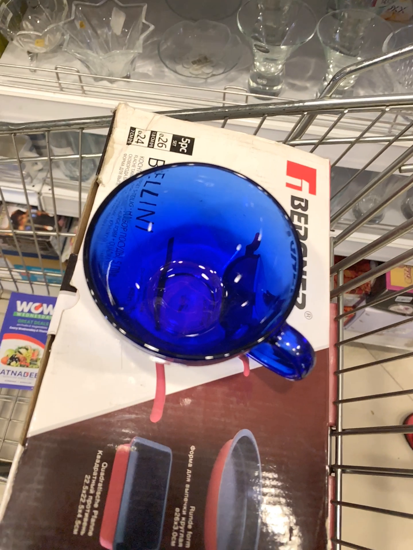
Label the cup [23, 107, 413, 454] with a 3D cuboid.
[{"bbox_3d":[0.004,0.001,0.170,0.110,0.050,0.080,34,68,13],"label":"cup"}]
